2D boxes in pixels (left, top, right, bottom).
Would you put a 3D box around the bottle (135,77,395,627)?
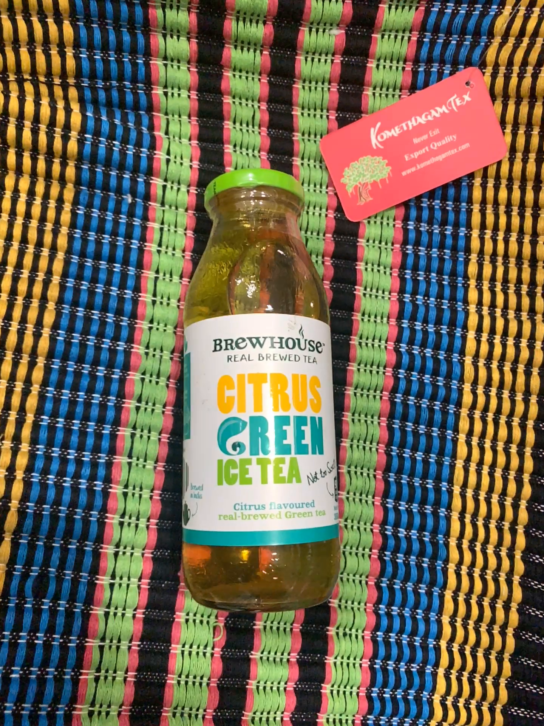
[{"bbox_3d":[-0.011,-0.005,0.234,0.080,0.070,0.190,2,76,-18],"label":"bottle"}]
